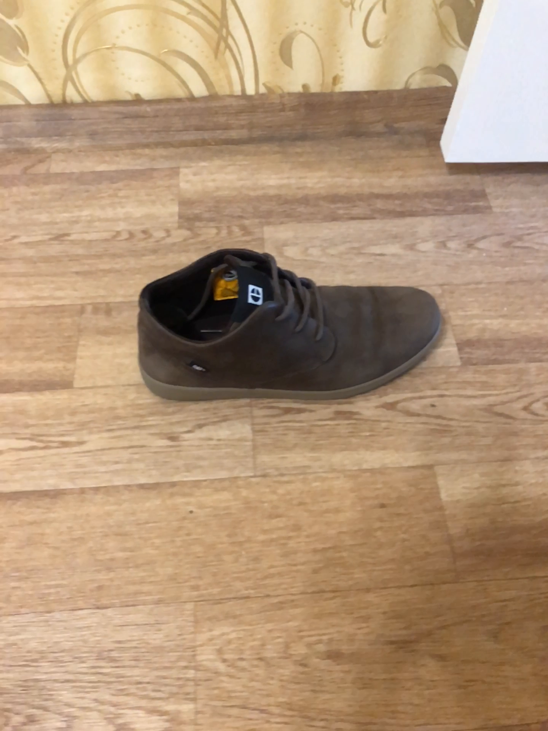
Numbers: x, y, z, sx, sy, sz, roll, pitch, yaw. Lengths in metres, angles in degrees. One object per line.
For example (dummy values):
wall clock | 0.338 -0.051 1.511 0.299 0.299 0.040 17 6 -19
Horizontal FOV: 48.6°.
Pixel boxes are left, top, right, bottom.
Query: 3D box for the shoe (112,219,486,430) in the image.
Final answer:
shoe | 0.014 -0.032 0.507 0.270 0.110 0.100 -7 59 -5
